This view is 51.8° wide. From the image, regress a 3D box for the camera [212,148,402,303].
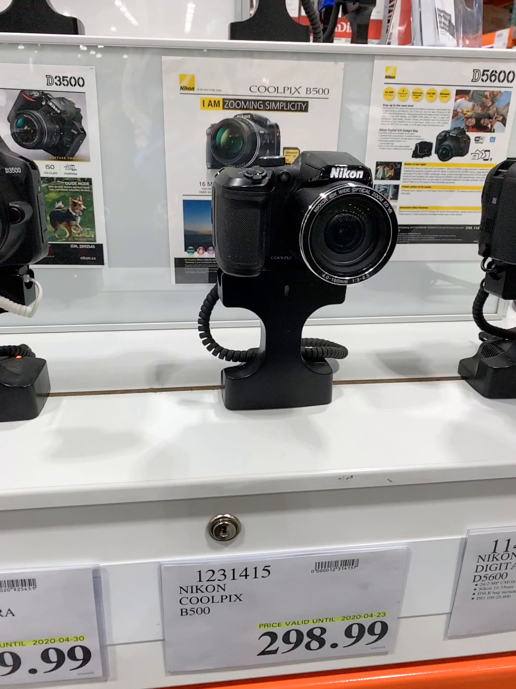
[{"bbox_3d":[0.027,-0.085,0.363,0.110,0.089,0.070,-3,22,-9],"label":"camera"}]
